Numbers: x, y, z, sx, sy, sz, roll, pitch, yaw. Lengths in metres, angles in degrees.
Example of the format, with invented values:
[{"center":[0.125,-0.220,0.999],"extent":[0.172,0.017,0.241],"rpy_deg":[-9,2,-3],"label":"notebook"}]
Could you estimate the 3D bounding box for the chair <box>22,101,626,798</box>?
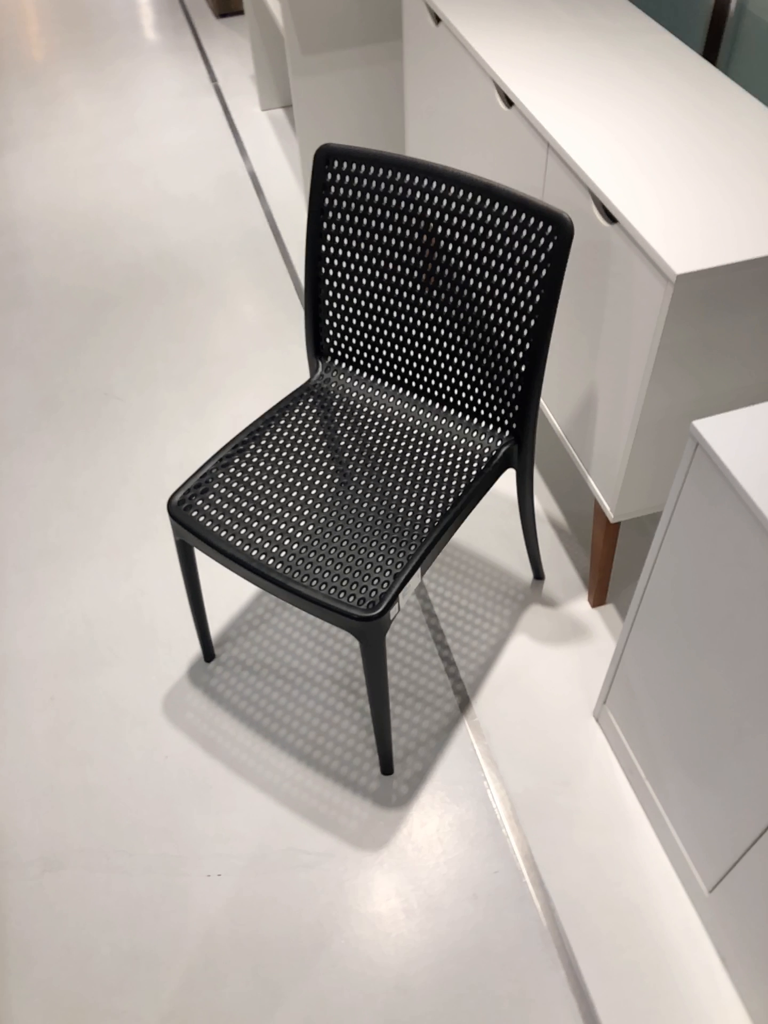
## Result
[{"center":[-0.039,-0.074,1.421],"extent":[0.531,0.864,0.603],"rpy_deg":[25,56,22],"label":"chair"}]
